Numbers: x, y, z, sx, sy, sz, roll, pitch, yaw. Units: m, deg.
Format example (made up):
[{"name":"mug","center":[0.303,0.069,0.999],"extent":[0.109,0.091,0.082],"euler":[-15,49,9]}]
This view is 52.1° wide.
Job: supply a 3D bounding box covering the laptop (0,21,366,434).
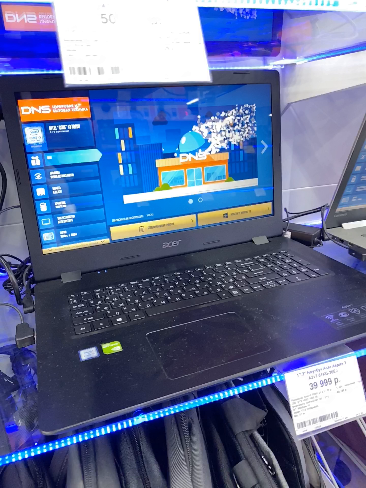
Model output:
[{"name":"laptop","center":[0.028,-0.070,0.449],"extent":[0.422,0.273,0.328],"euler":[-10,21,-19]}]
